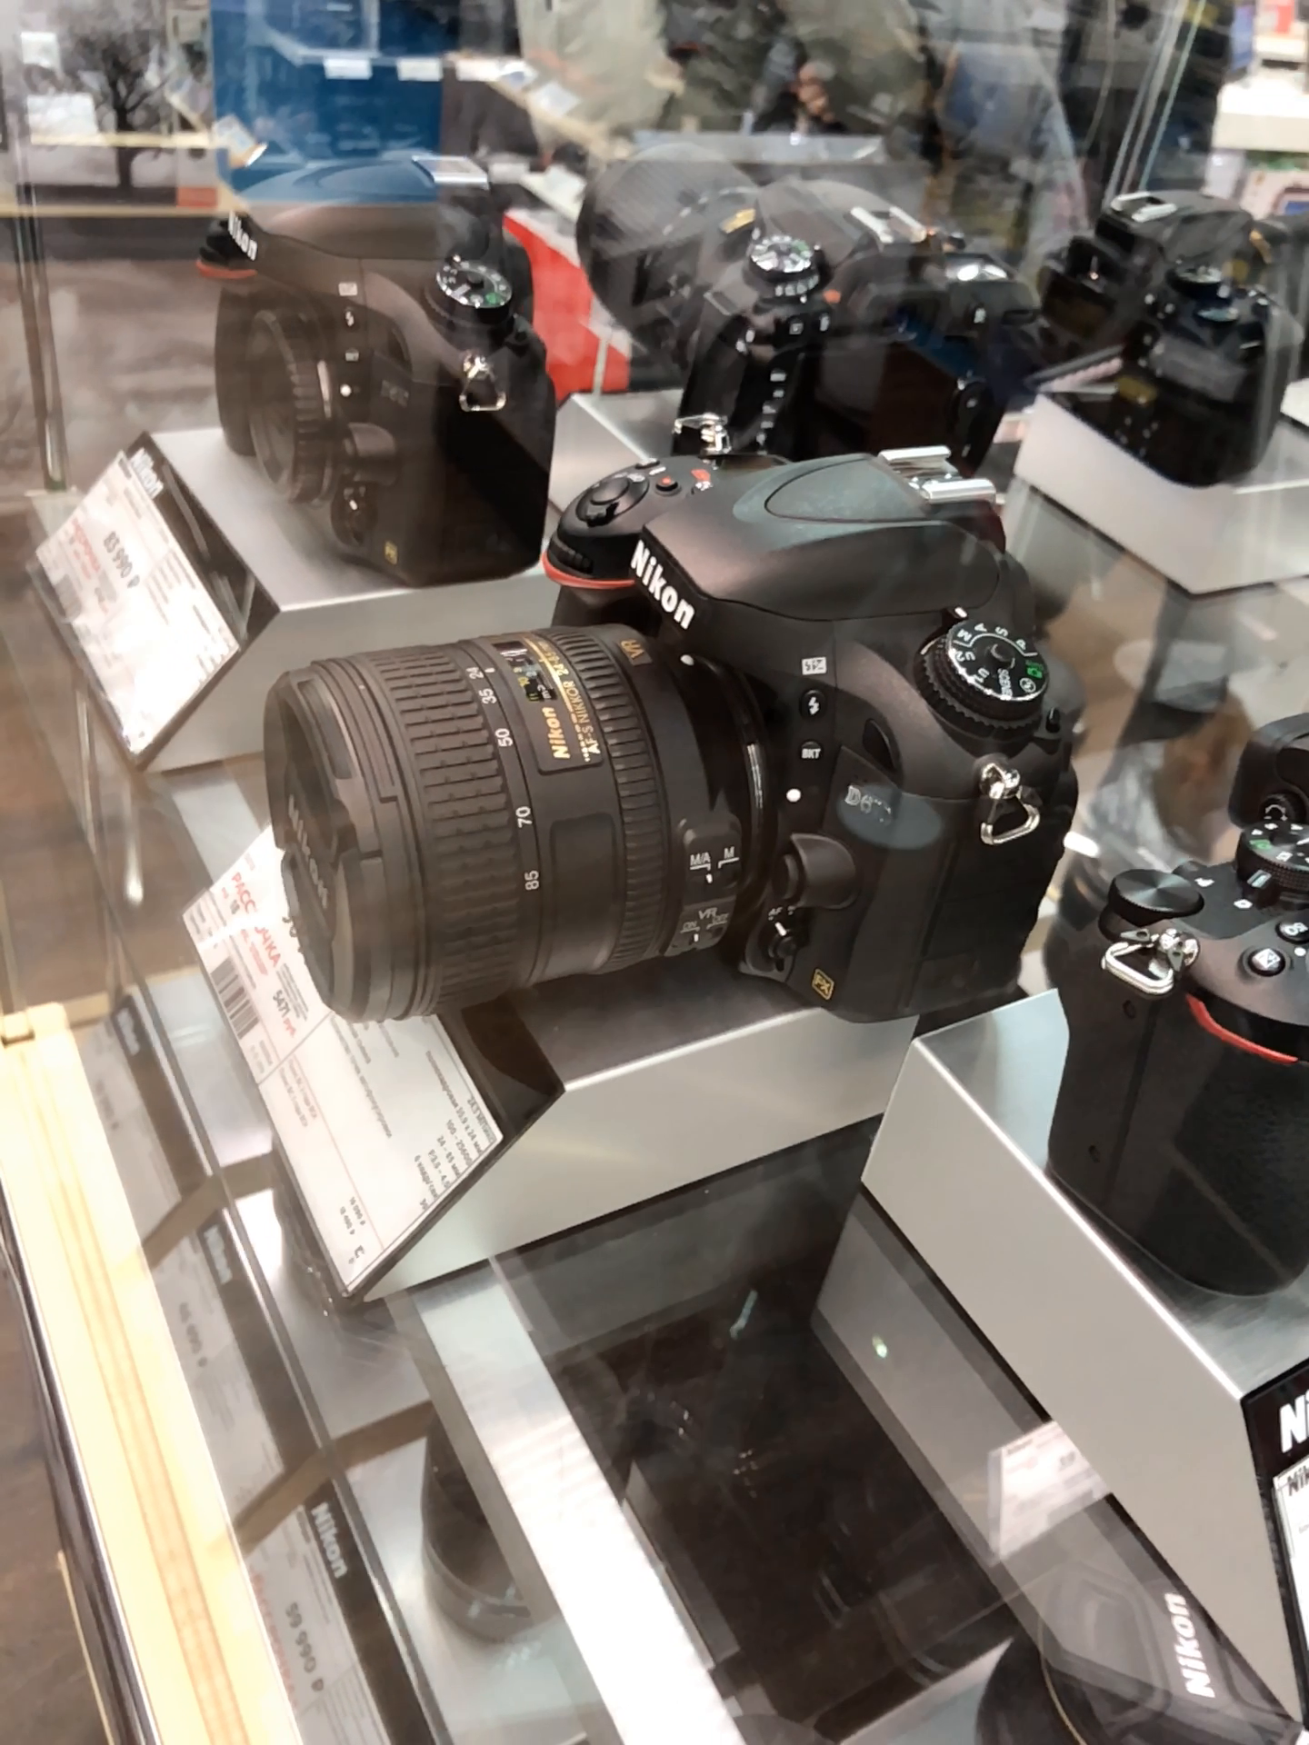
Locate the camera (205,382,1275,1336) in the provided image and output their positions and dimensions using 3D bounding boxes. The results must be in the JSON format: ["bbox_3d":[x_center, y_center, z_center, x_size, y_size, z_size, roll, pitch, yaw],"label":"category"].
[{"bbox_3d":[0.000,-0.018,0.300,0.150,0.109,0.148,-8,42,-23],"label":"camera"}]
